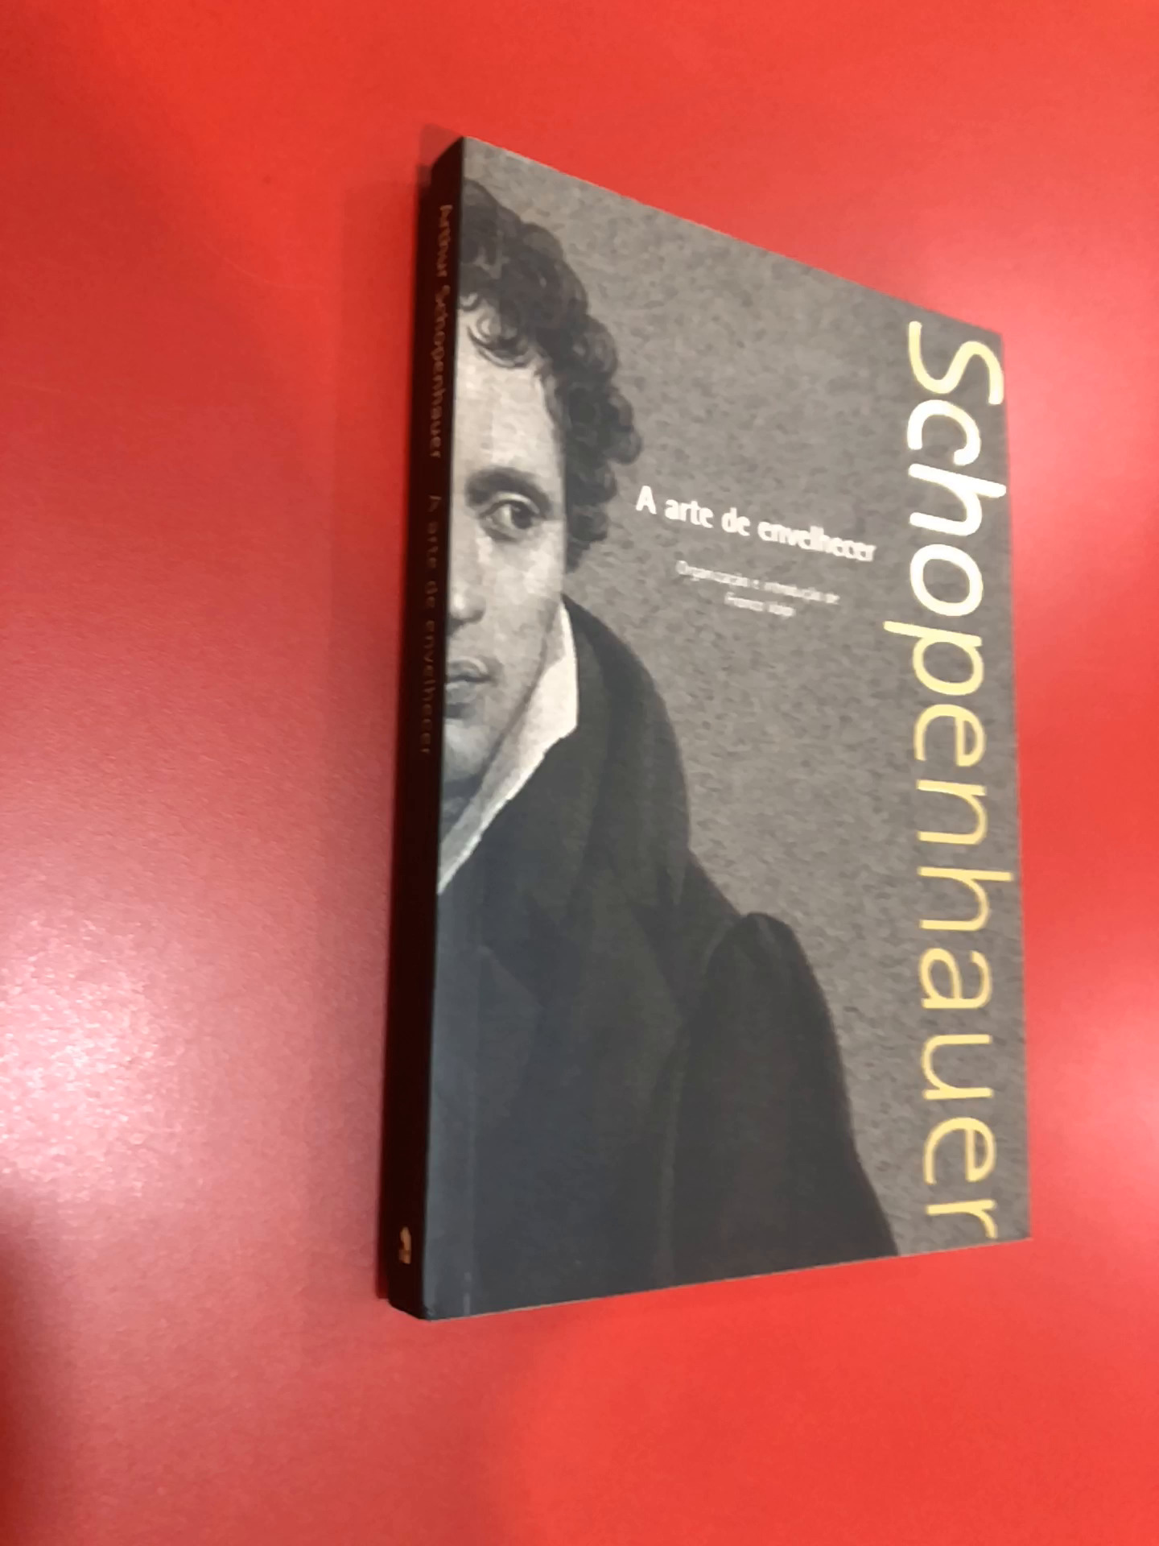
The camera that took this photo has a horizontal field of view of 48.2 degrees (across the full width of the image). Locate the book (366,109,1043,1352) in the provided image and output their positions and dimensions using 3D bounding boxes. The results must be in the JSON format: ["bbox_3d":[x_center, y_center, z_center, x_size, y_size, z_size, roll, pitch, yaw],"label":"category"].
[{"bbox_3d":[0.032,-0.006,0.244,0.137,0.017,0.196,6,82,-30],"label":"book"}]
